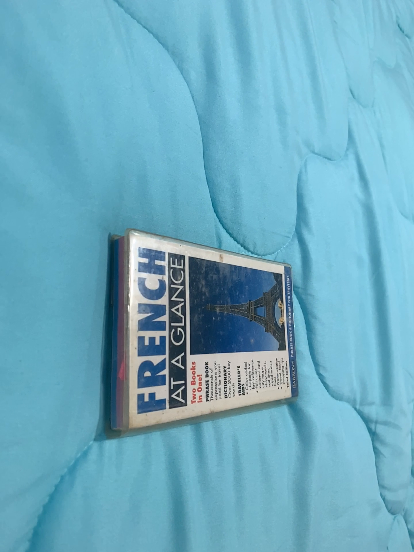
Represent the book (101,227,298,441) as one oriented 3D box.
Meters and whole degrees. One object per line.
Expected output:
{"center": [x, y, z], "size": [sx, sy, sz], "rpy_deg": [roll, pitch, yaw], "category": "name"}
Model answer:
{"center": [0.006, 0.032, 0.262], "size": [0.155, 0.017, 0.099], "rpy_deg": [7, 78, -48], "category": "book"}
